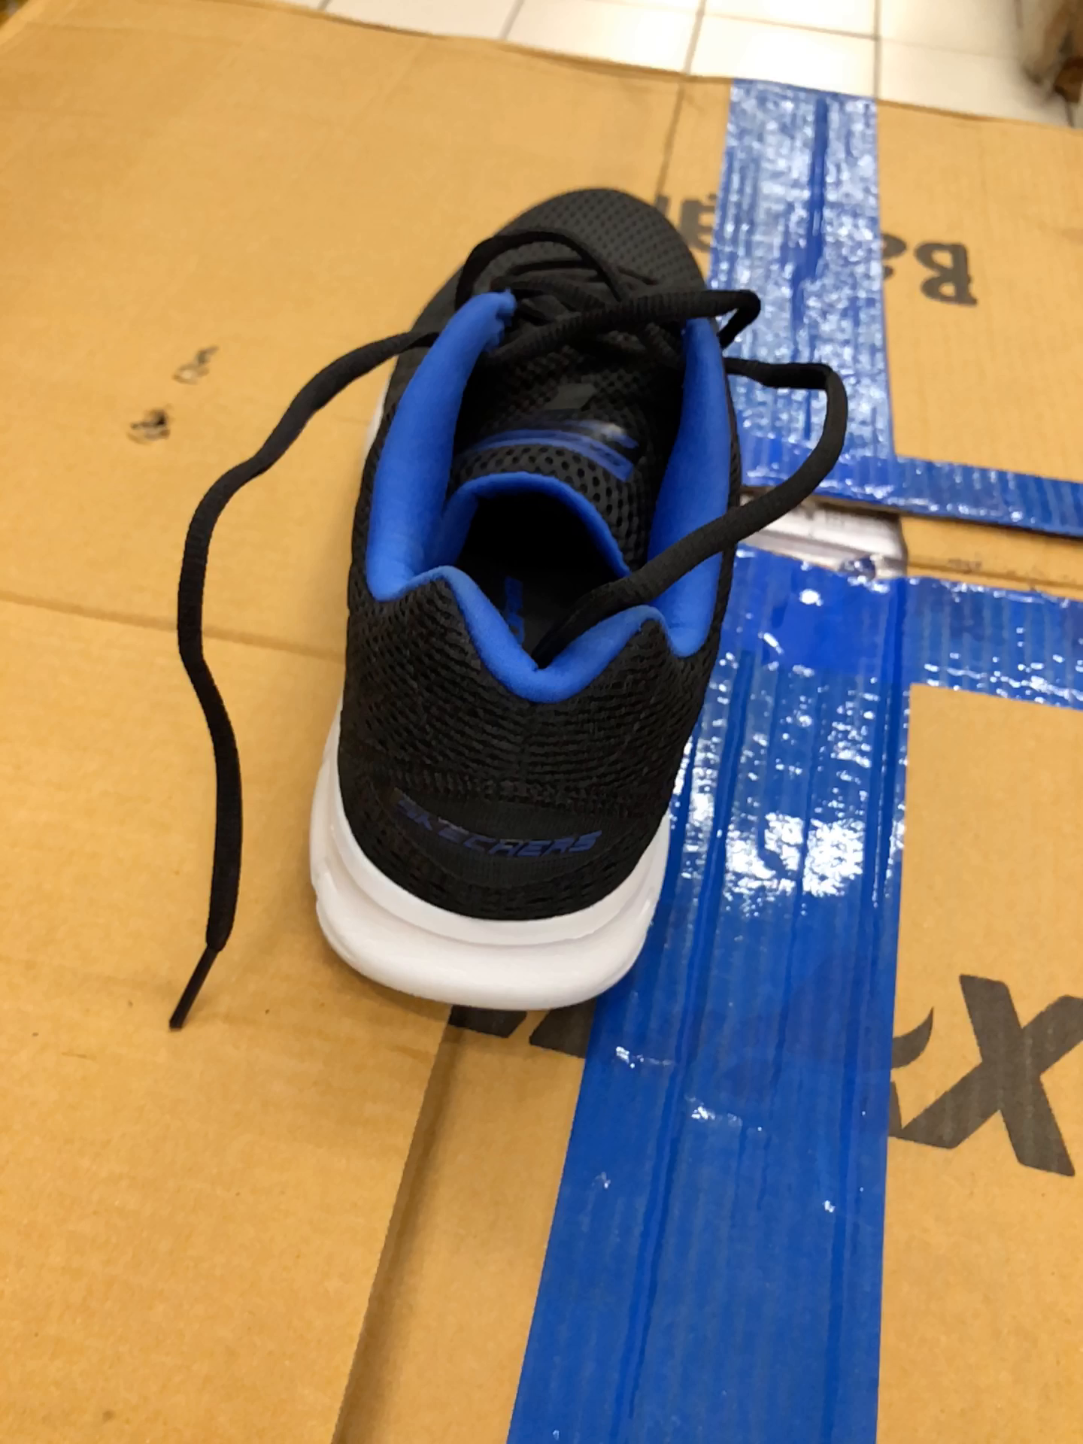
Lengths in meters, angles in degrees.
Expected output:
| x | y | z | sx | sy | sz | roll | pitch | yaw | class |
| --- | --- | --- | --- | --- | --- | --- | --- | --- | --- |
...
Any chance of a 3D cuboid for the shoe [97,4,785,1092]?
| x | y | z | sx | sy | sz | roll | pitch | yaw | class |
| --- | --- | --- | --- | --- | --- | --- | --- | --- | --- |
| -0.003 | -0.063 | 0.327 | 0.110 | 0.129 | 0.272 | 8 | 51 | 2 | shoe |
